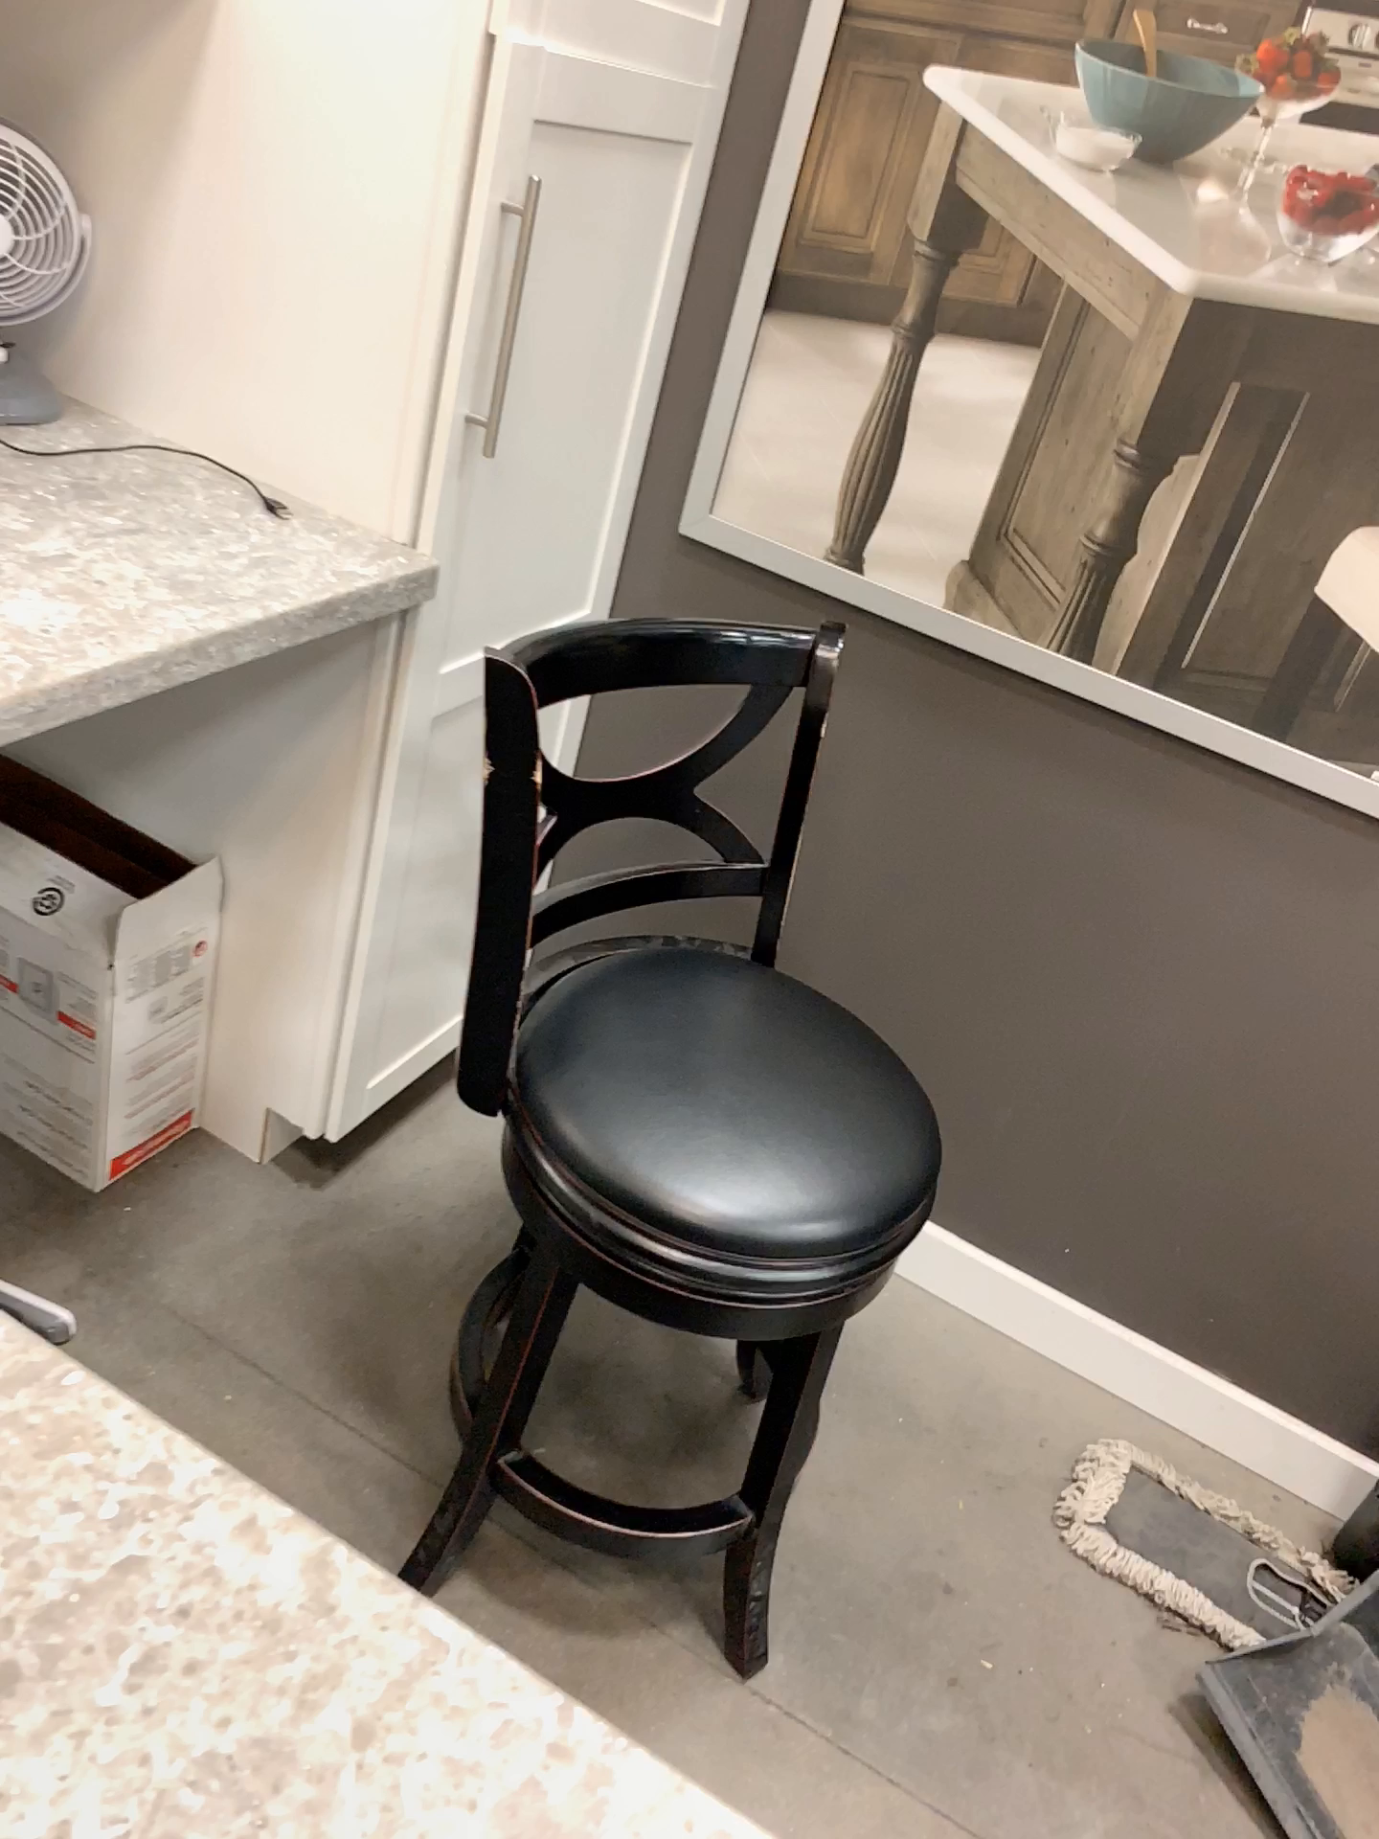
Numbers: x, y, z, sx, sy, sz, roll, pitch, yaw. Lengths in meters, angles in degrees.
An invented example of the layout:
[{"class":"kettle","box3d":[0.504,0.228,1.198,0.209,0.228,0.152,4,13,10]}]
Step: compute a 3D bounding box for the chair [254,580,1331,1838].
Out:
[{"class":"chair","box3d":[0.020,0.235,1.369,0.559,0.912,0.605,-16,43,-42]}]
